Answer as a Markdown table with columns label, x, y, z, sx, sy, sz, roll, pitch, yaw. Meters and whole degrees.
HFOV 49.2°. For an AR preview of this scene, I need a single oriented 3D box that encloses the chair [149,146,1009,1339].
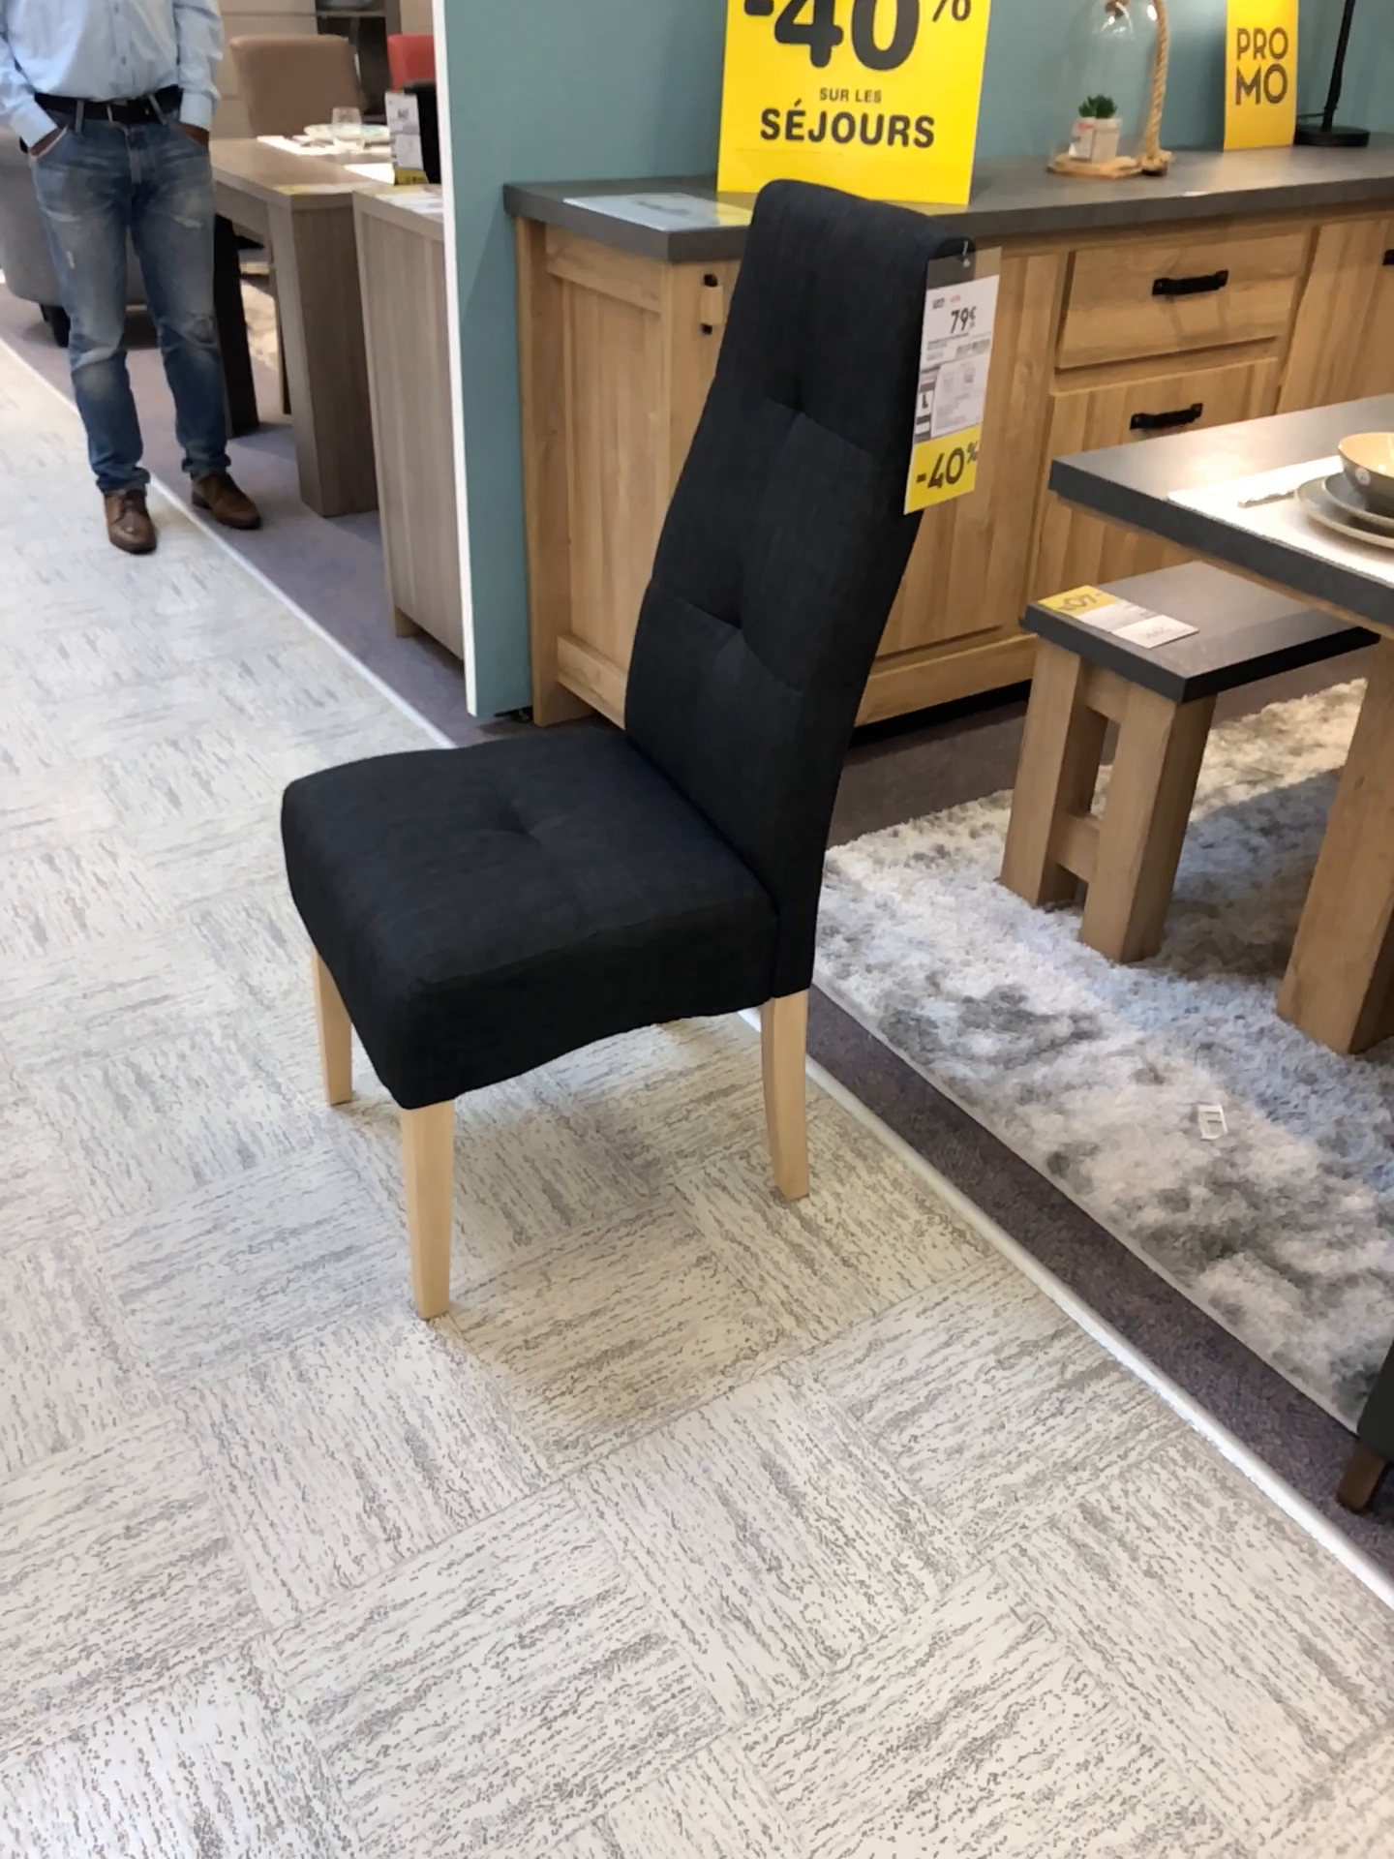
| label | x | y | z | sx | sy | sz | roll | pitch | yaw |
| --- | --- | --- | --- | --- | --- | --- | --- | --- | --- |
| chair | -0.131 | -0.201 | 1.599 | 0.602 | 1.043 | 0.481 | -14 | 36 | -23 |
